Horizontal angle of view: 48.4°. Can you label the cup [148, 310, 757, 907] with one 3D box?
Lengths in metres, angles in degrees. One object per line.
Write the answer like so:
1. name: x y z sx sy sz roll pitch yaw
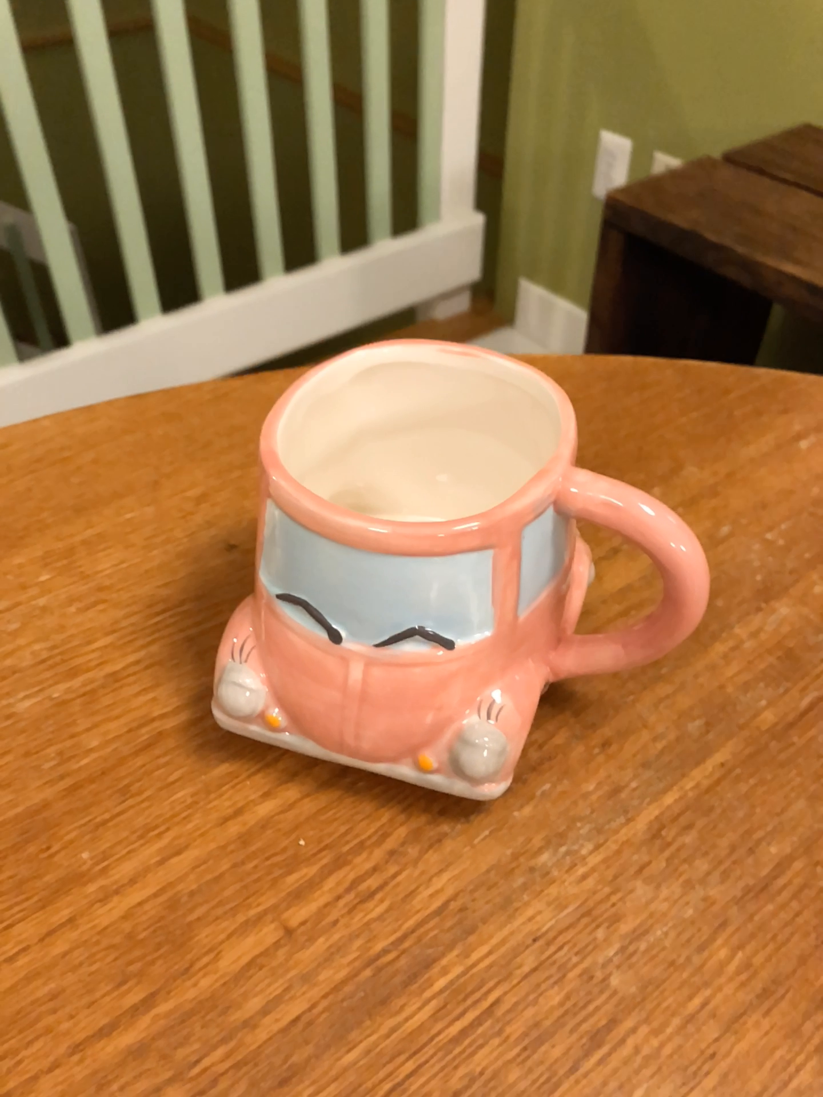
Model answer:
1. cup: 0.021 0.010 0.287 0.139 0.097 0.128 0 43 0
